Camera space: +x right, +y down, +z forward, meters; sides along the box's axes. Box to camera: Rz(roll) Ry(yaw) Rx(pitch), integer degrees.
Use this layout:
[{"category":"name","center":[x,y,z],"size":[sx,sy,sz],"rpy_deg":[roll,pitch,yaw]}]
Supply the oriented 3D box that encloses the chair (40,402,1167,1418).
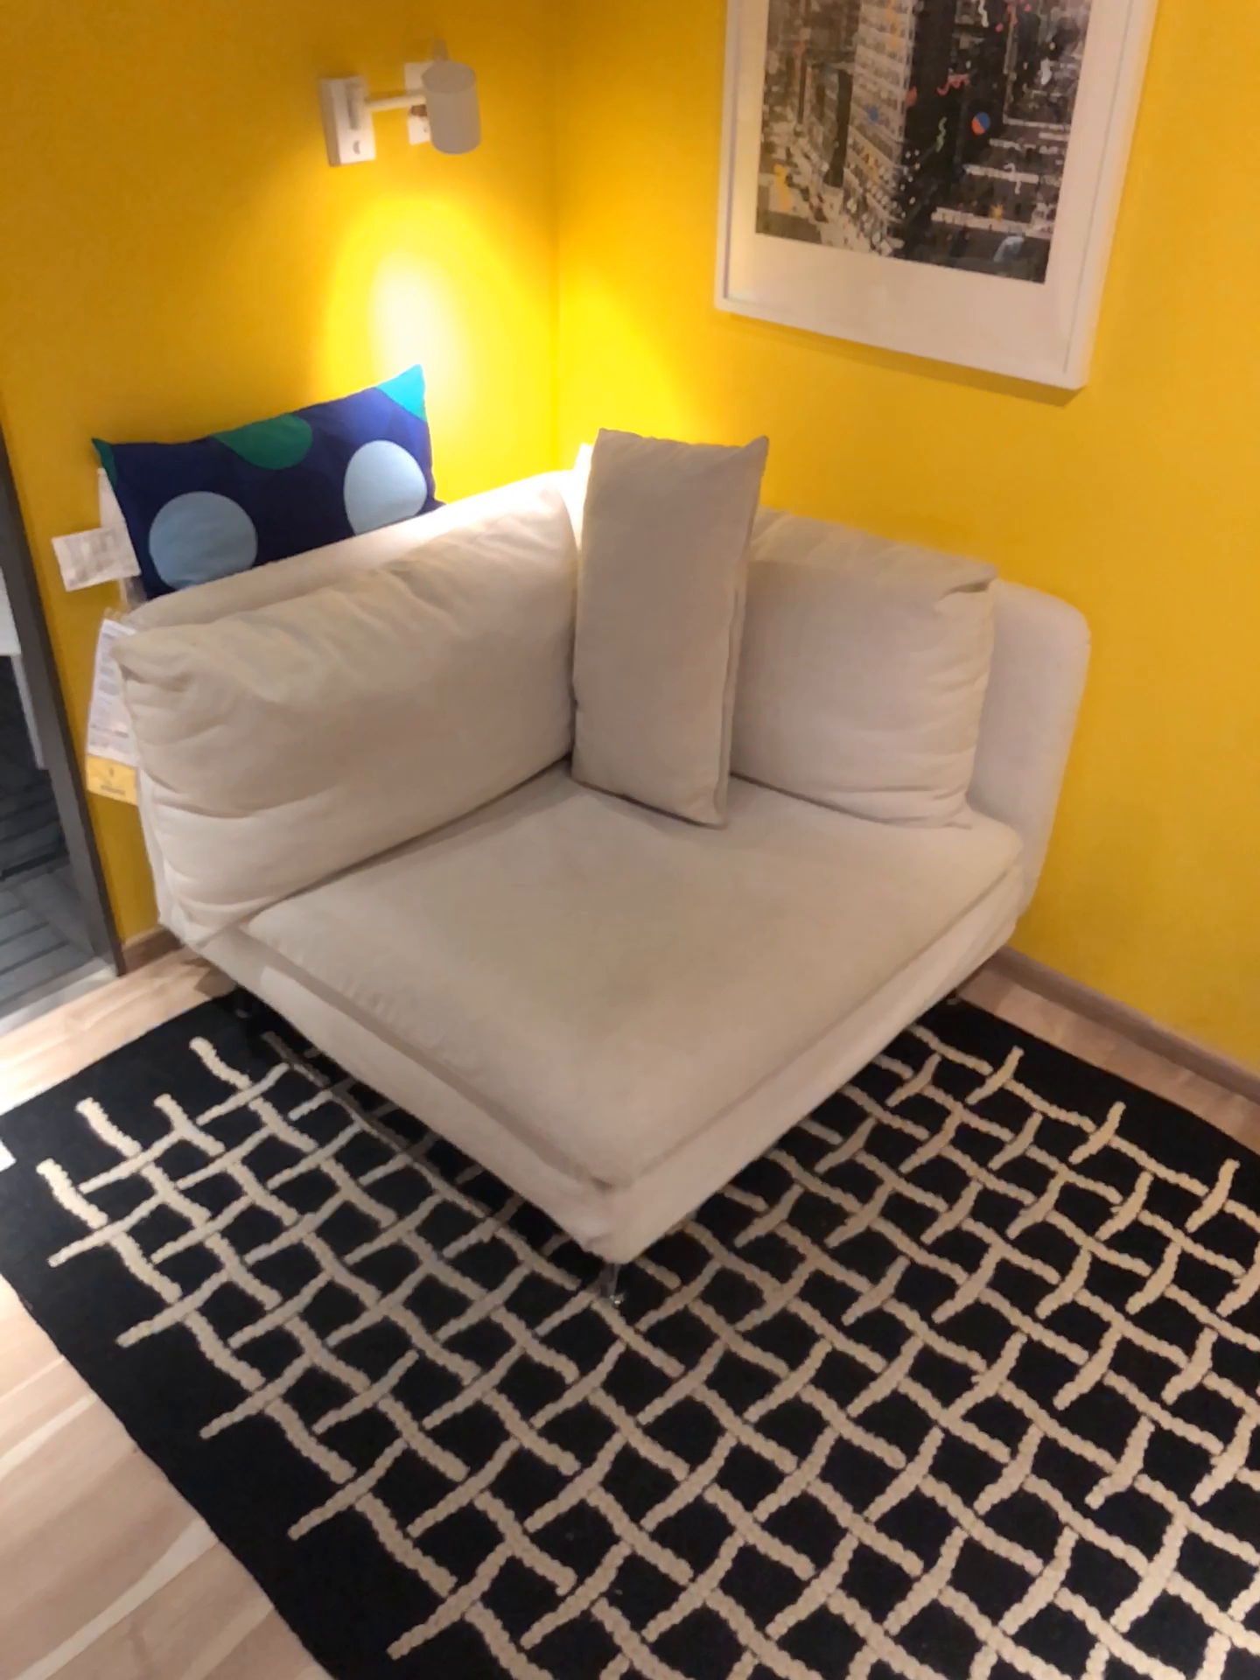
[{"category":"chair","center":[-0.016,-0.056,2.050],"size":[1.013,0.755,1.114],"rpy_deg":[27,41,35]}]
